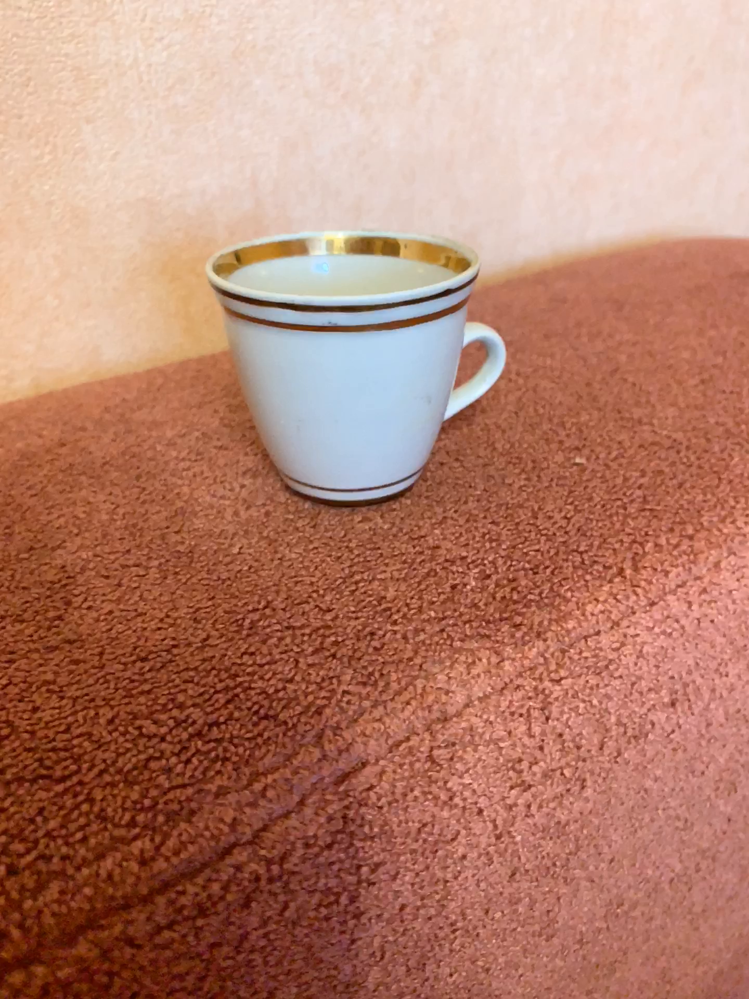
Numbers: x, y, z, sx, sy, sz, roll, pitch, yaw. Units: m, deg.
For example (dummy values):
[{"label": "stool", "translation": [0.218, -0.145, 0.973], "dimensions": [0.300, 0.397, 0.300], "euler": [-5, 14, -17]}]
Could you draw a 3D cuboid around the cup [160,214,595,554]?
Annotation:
[{"label": "cup", "translation": [-0.001, -0.031, 0.183], "dimensions": [0.078, 0.048, 0.055], "euler": [-14, 34, -20]}]
